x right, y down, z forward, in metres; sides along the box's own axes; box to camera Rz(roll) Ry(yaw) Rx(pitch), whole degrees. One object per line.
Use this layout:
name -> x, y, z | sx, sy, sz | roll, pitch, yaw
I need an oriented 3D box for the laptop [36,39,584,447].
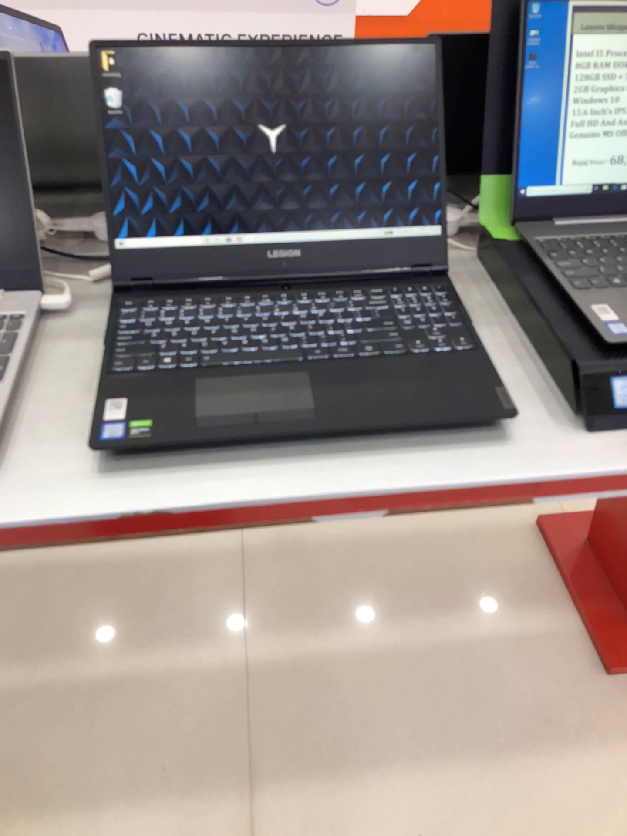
laptop -> -0.019, -0.179, 0.600 | 0.334, 0.191, 0.349 | -4, 43, -7
